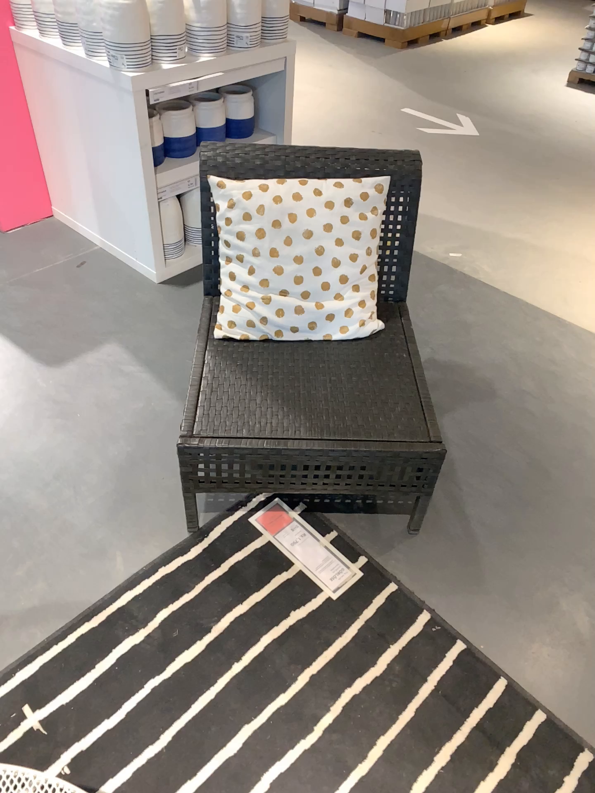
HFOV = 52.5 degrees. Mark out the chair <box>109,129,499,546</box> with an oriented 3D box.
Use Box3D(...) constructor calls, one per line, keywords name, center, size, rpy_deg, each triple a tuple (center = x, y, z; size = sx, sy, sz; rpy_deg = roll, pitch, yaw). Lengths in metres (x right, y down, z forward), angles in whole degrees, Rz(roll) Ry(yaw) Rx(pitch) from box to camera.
Box3D(name="chair", center=(-0.008, -0.161, 1.638), size=(0.700, 0.797, 0.783), rpy_deg=(1, 43, -2))
